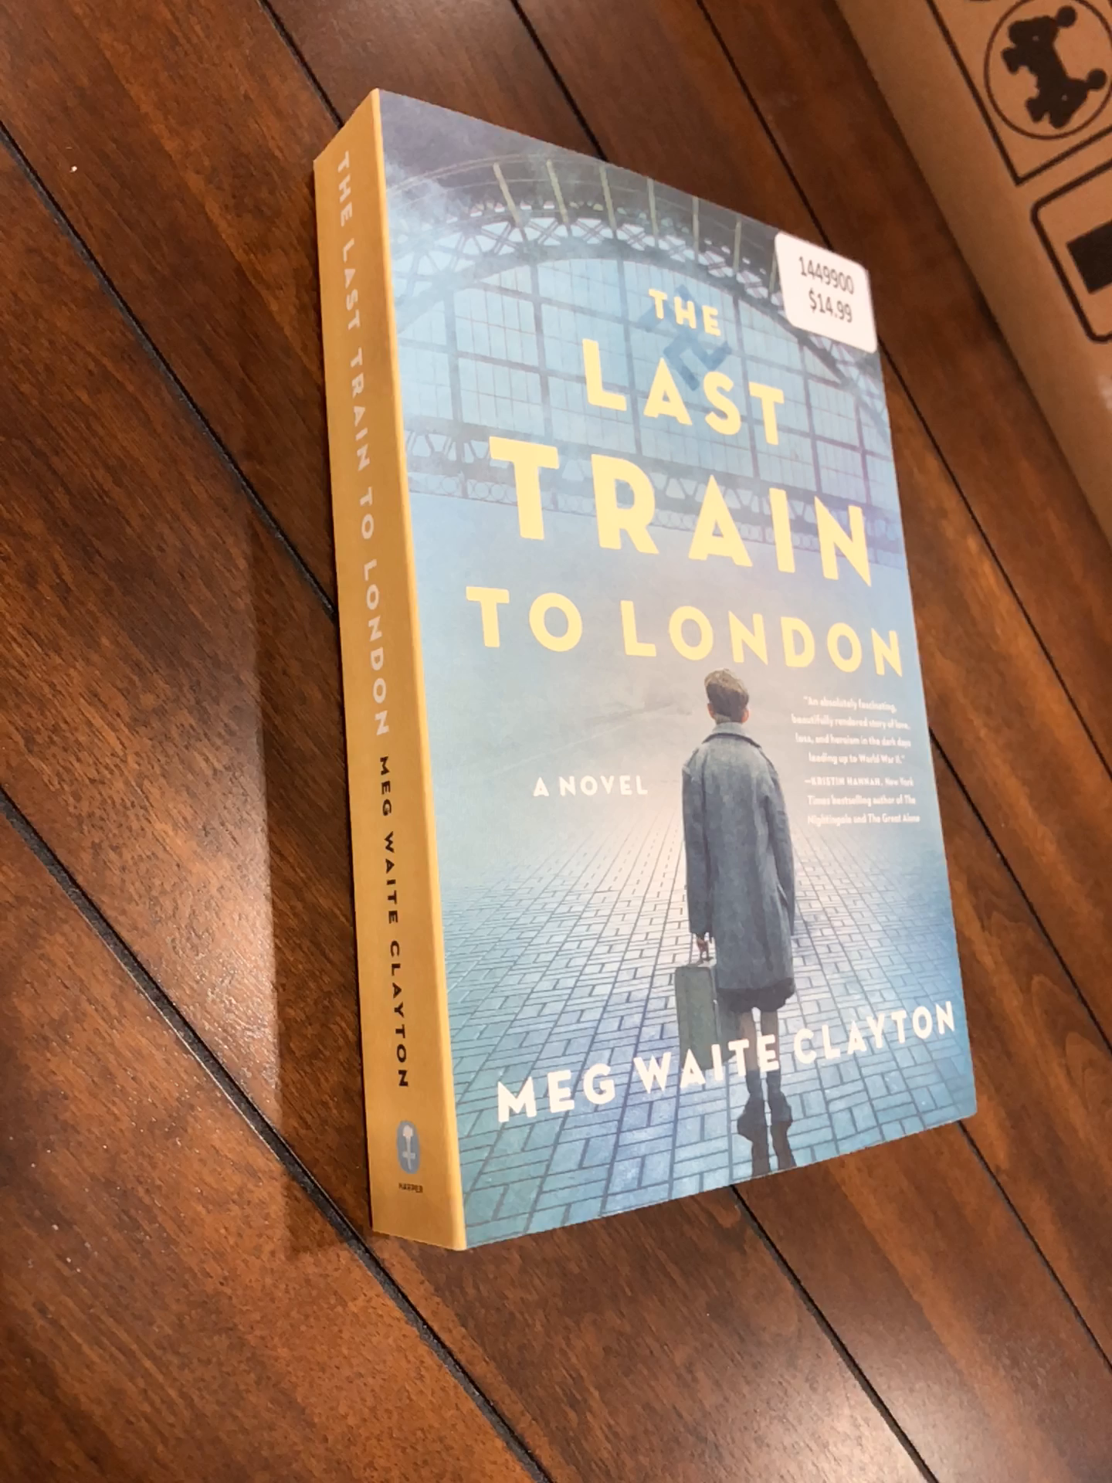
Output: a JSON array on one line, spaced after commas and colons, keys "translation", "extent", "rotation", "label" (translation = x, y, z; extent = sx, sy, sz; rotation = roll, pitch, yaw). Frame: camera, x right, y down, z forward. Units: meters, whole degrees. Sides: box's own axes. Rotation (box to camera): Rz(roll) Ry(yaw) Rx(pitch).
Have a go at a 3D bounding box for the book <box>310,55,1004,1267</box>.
[{"translation": [0.026, -0.016, 0.281], "extent": [0.152, 0.041, 0.220], "rotation": [3, 80, -35], "label": "book"}]
